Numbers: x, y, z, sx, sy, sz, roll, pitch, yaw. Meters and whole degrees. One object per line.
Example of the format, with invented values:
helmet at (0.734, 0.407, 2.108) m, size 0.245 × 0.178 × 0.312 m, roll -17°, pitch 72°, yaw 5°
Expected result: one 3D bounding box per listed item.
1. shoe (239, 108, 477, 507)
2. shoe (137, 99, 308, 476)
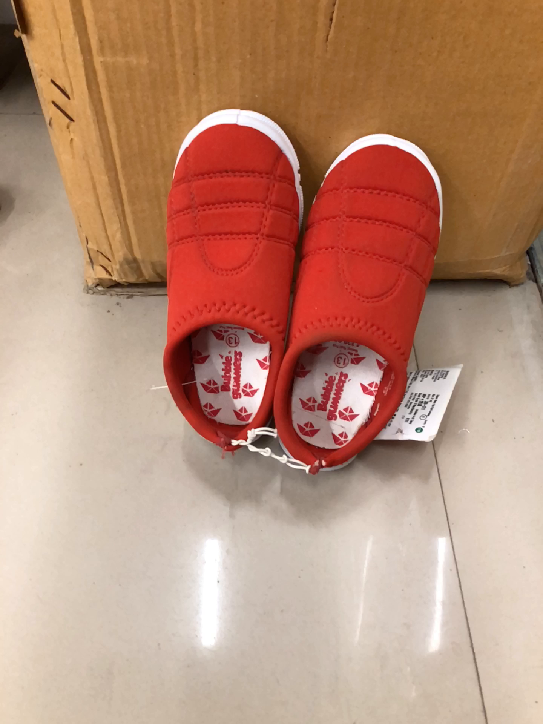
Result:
shoe at (0.050, -0.033, 0.370) m, size 0.084 × 0.208 × 0.081 m, roll 15°, pitch 16°, yaw 10°
shoe at (-0.026, -0.044, 0.365) m, size 0.084 × 0.204 × 0.082 m, roll 3°, pitch 18°, yaw 1°
